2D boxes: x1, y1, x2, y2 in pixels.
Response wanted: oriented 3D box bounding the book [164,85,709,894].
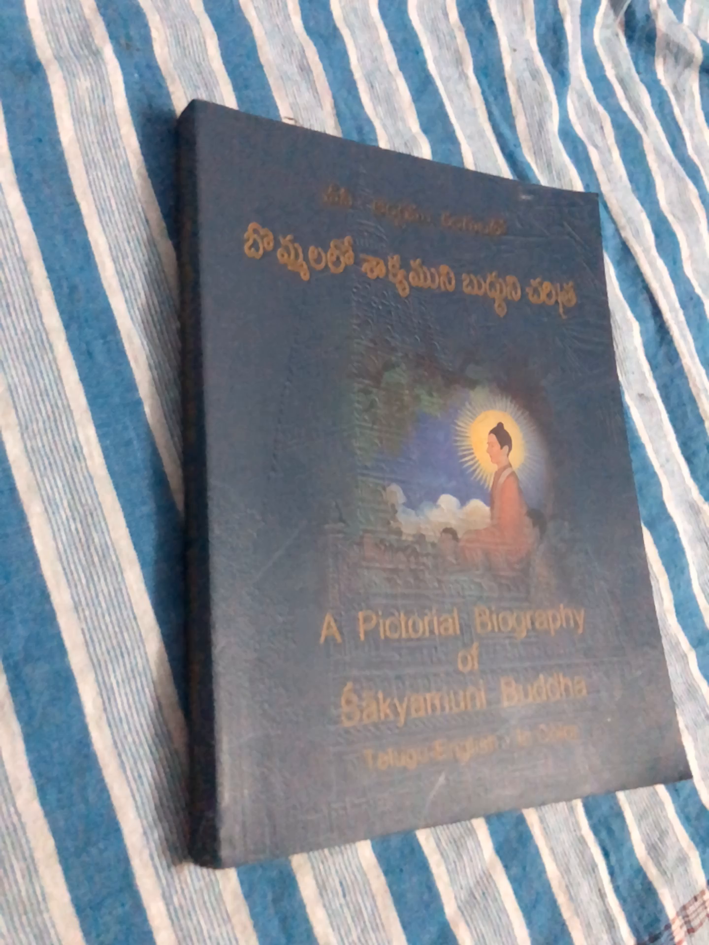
[{"bbox_3d":[0.029,-0.005,0.254,0.171,0.020,0.220,2,73,-27],"label":"book"}]
